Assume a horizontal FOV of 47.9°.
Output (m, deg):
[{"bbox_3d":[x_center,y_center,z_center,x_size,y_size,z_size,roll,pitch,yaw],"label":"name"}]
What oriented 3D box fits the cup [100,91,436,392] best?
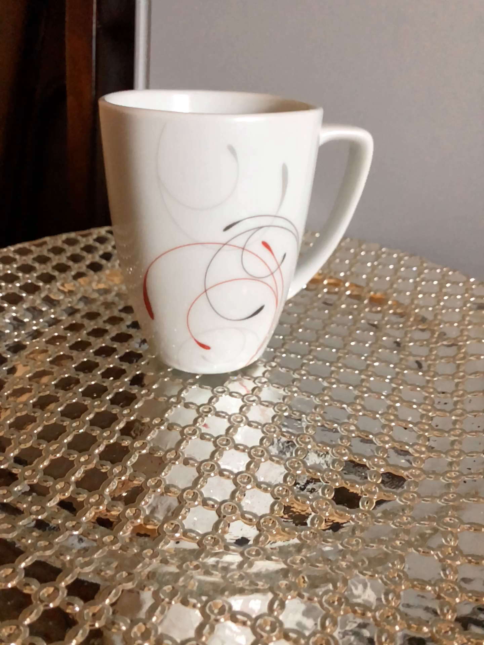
[{"bbox_3d":[0.005,-0.044,0.241,0.110,0.100,0.080,-10,30,-25],"label":"cup"}]
